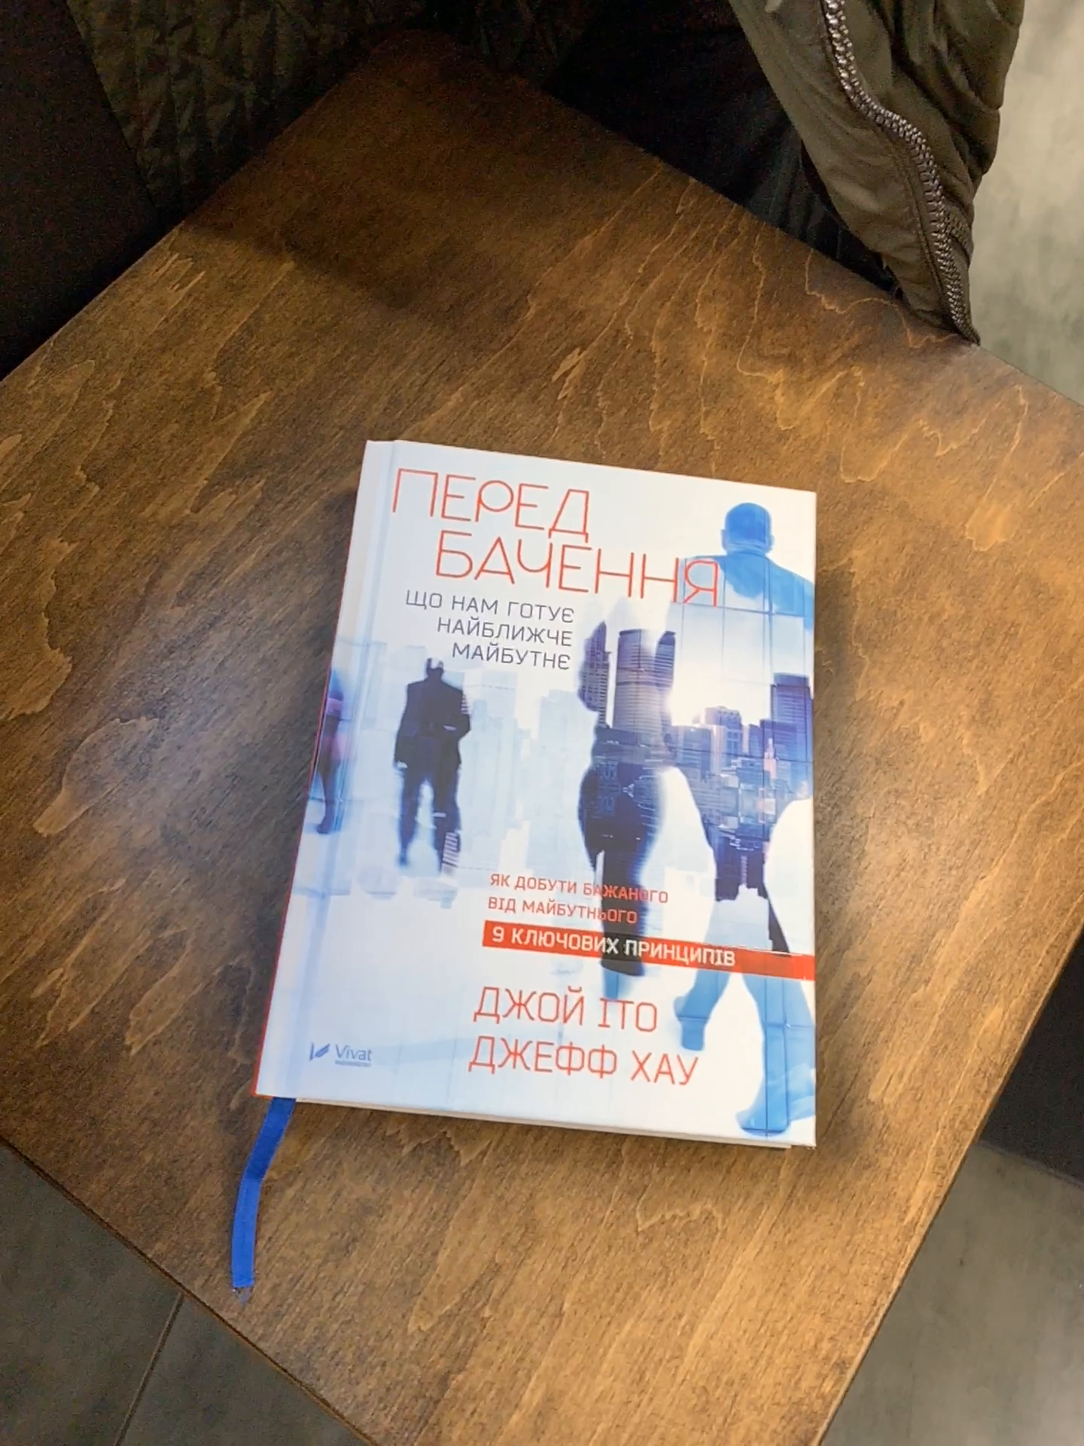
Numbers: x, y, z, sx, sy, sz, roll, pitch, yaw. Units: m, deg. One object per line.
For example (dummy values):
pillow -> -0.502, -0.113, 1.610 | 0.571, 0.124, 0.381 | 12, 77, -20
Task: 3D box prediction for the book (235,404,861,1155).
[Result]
book -> 0.008, 0.012, 0.317 | 0.149, 0.040, 0.196 | 6, 69, -3
